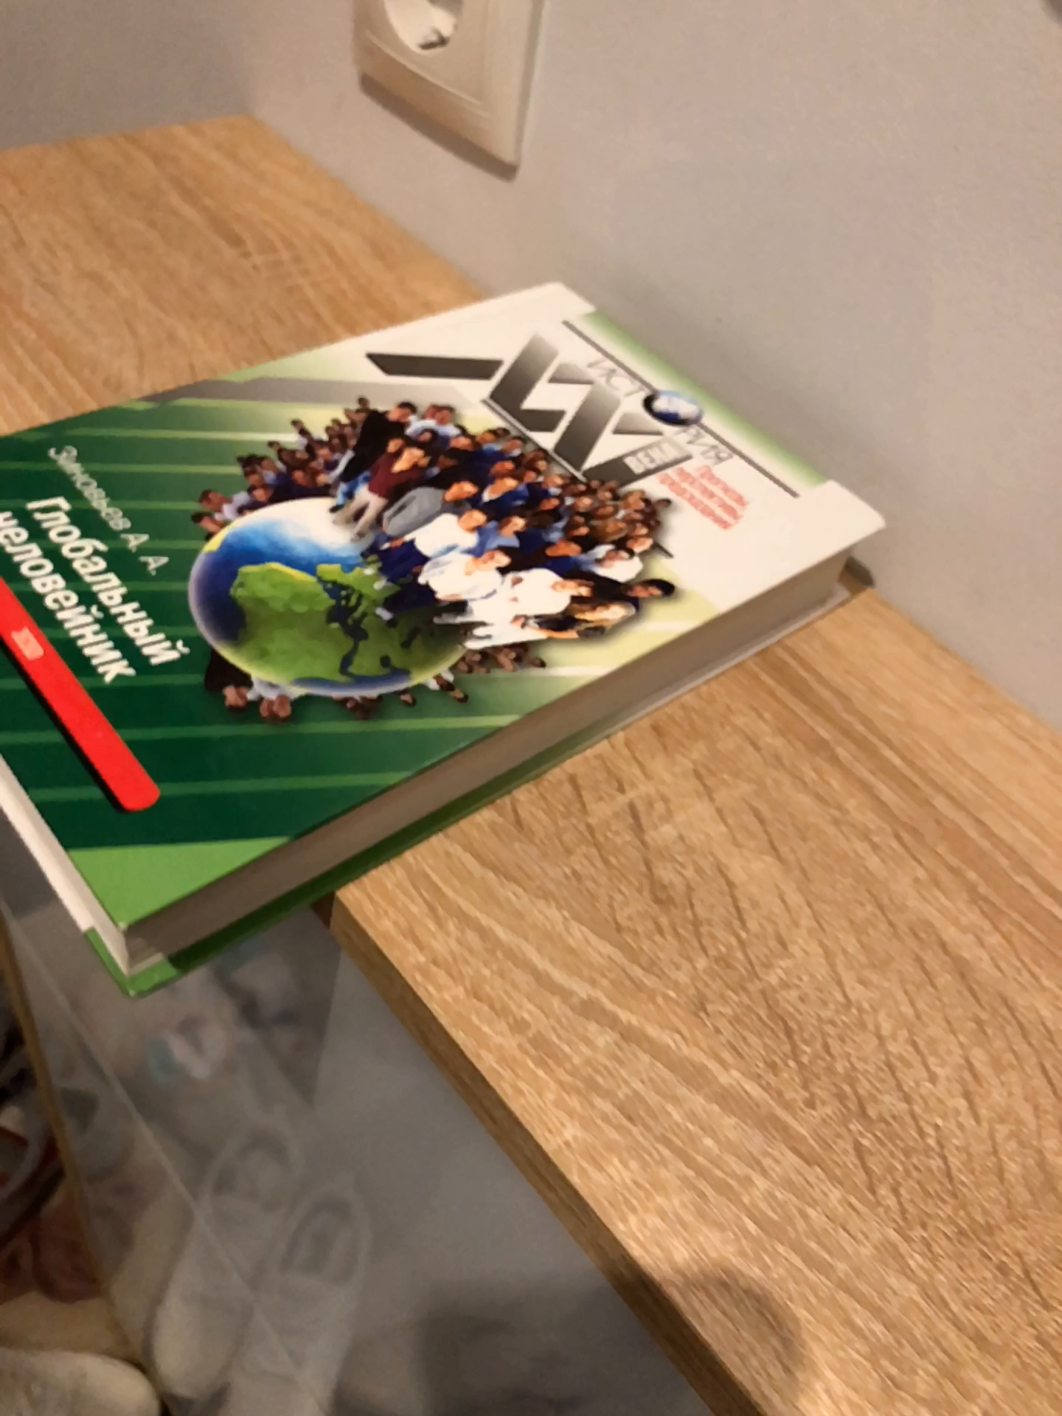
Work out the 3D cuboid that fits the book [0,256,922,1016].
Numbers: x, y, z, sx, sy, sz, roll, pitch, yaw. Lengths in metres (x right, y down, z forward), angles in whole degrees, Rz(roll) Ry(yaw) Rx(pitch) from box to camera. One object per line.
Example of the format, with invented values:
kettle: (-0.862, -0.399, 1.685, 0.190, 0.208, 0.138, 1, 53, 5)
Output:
book: (-0.031, -0.043, 0.278, 0.221, 0.020, 0.140, -27, 58, -32)
